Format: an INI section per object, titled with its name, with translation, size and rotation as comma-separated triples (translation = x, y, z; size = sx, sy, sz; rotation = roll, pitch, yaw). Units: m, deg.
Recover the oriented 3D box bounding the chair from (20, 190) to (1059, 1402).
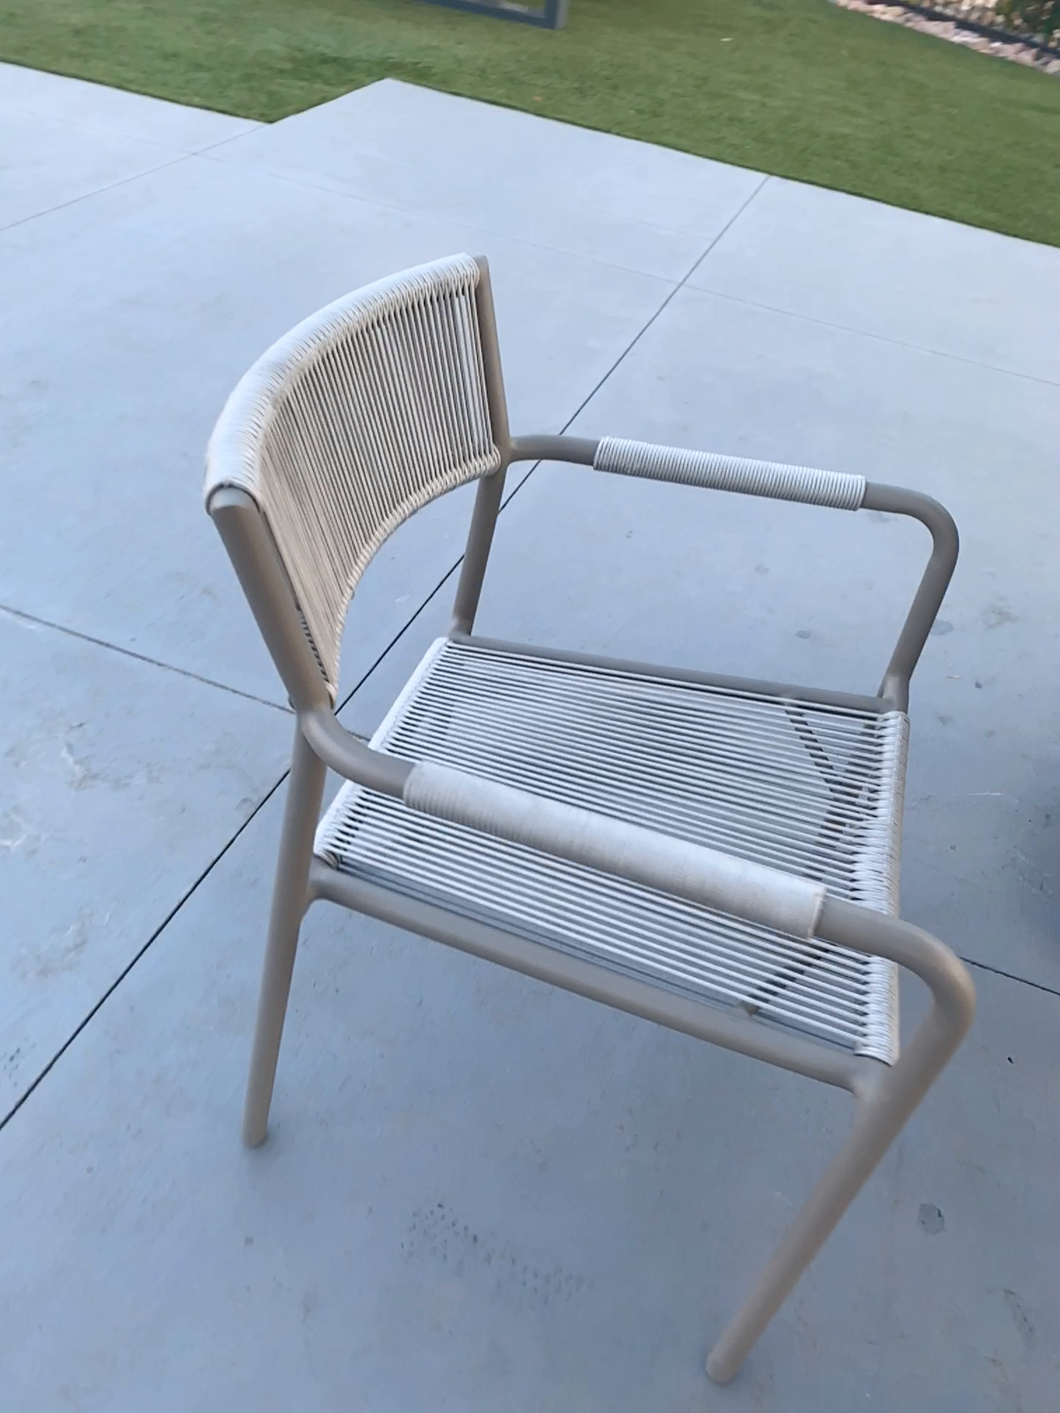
[chair]
translation = 0.068, 0.064, 1.024
size = 0.600, 0.766, 0.673
rotation = 15, 42, 7
